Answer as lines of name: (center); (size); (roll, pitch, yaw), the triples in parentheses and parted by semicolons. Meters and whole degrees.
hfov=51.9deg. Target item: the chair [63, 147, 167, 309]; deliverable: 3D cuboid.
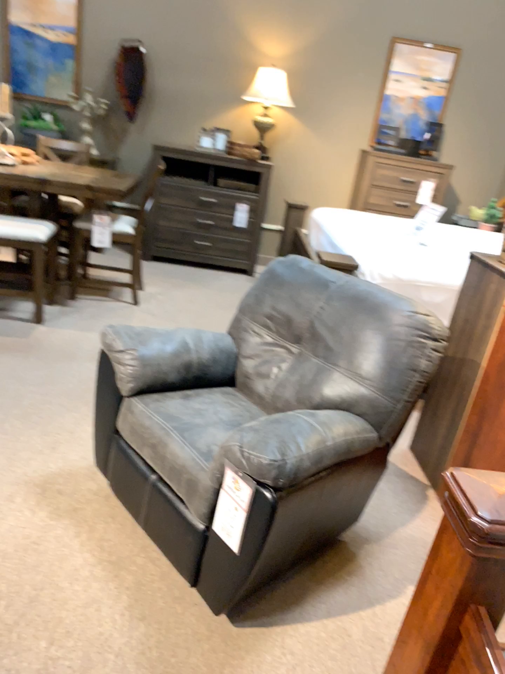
chair: (-0.991, -0.790, 3.772); (0.624, 1.002, 0.490); (5, 22, -10)

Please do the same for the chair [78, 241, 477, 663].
chair: (0.012, 0.241, 1.914); (0.907, 0.923, 0.990); (-11, 30, -40)
